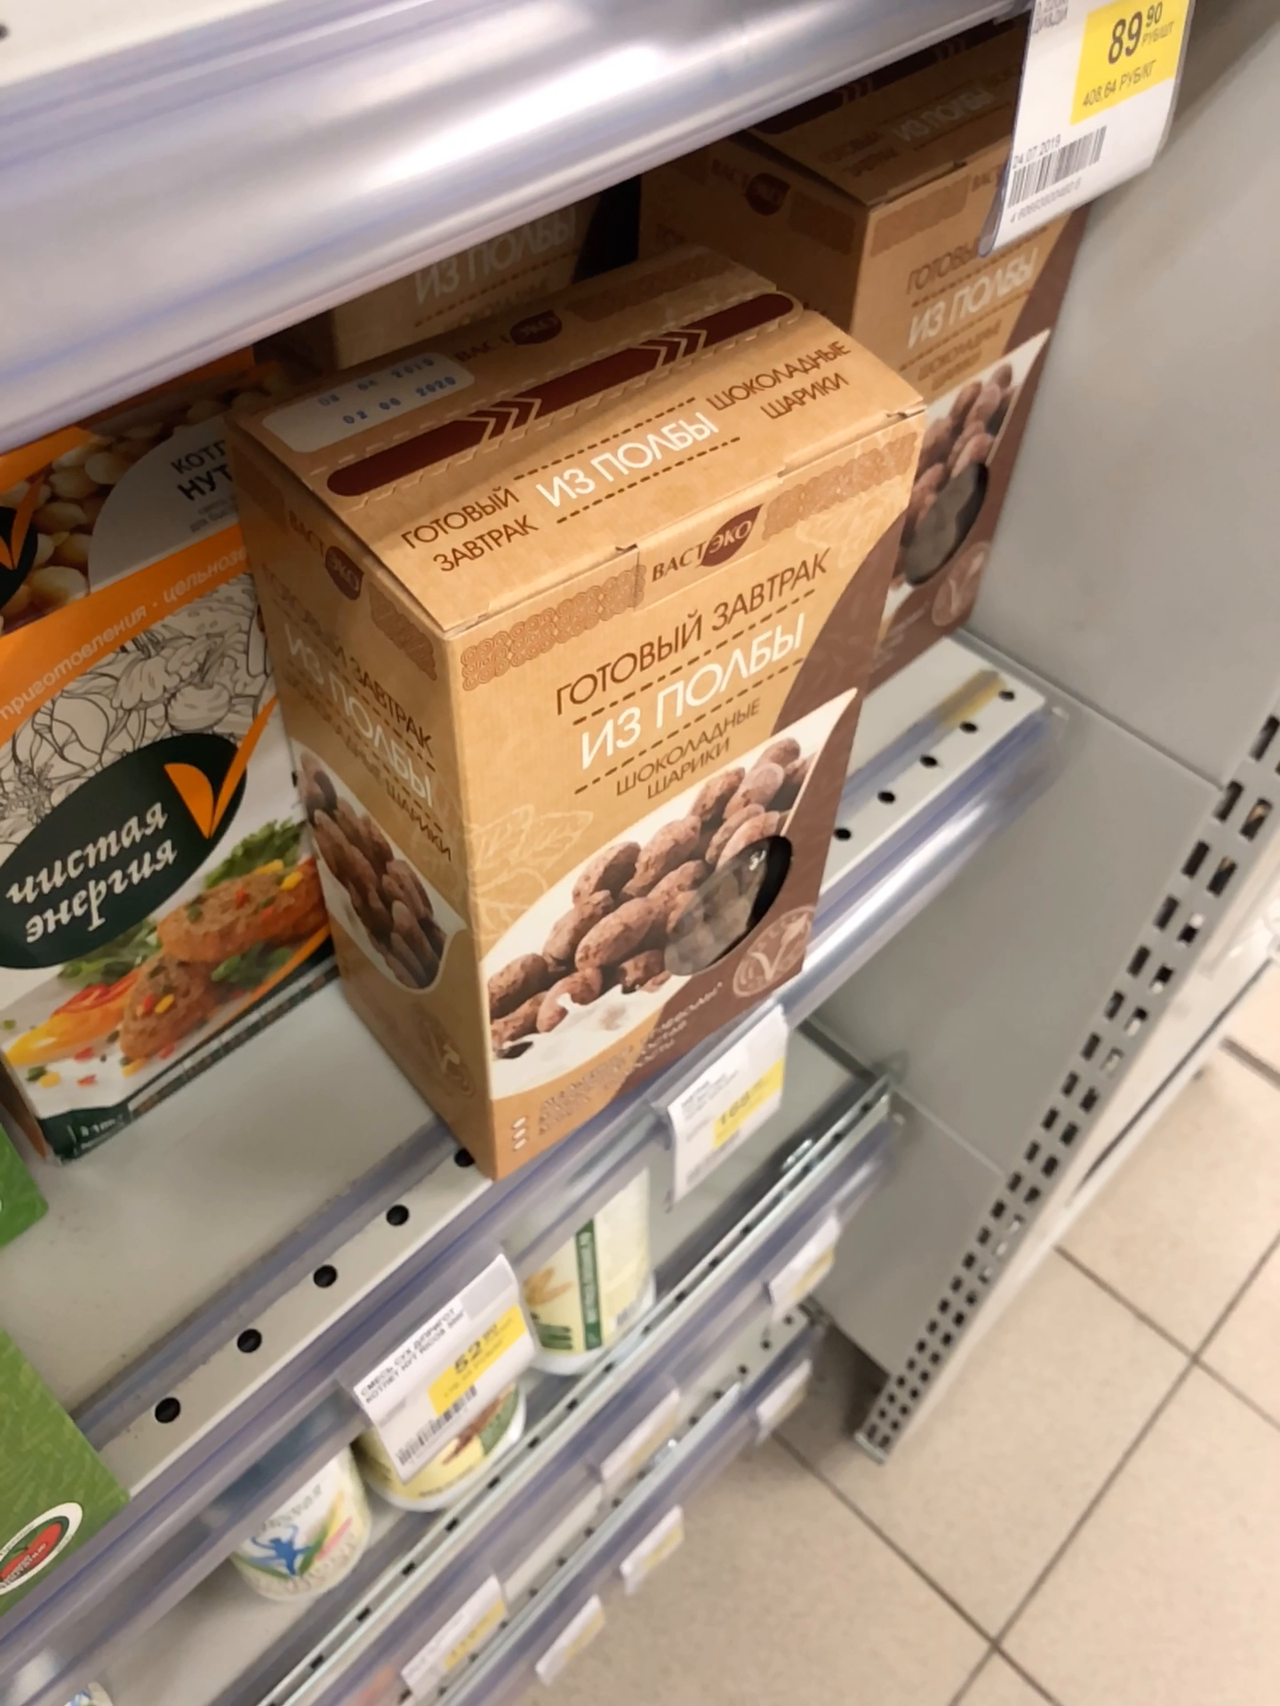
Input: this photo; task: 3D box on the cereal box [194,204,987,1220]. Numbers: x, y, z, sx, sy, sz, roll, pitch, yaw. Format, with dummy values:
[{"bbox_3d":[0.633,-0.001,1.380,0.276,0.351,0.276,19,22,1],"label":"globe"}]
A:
[{"bbox_3d":[-0.011,-0.024,0.351,0.130,0.209,0.080,-31,57,-26],"label":"cereal box"}]
